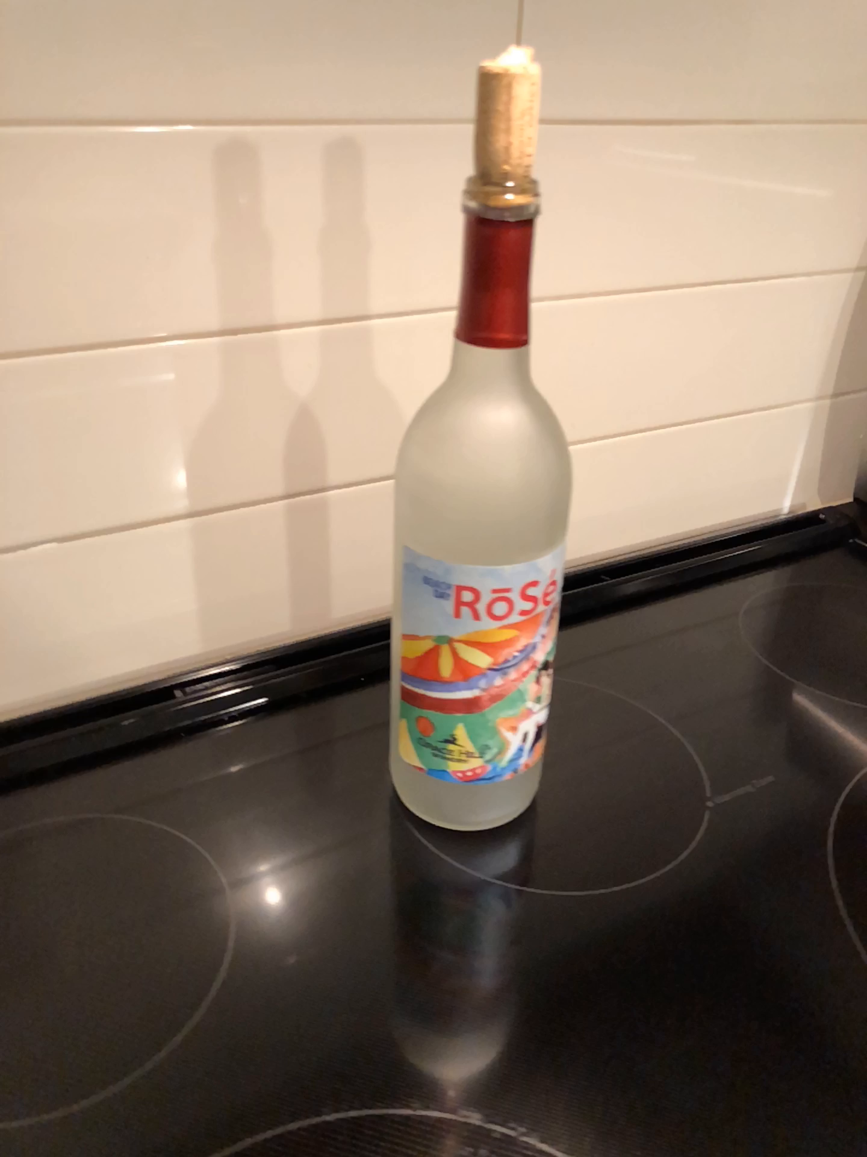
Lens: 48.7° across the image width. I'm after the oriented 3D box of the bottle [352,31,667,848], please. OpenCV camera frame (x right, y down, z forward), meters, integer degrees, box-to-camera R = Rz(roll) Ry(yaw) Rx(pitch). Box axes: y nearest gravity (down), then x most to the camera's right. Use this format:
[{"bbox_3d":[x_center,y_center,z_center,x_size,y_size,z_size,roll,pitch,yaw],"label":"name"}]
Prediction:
[{"bbox_3d":[0.018,-0.043,0.400,0.080,0.318,0.080,2,29,-1],"label":"bottle"}]
